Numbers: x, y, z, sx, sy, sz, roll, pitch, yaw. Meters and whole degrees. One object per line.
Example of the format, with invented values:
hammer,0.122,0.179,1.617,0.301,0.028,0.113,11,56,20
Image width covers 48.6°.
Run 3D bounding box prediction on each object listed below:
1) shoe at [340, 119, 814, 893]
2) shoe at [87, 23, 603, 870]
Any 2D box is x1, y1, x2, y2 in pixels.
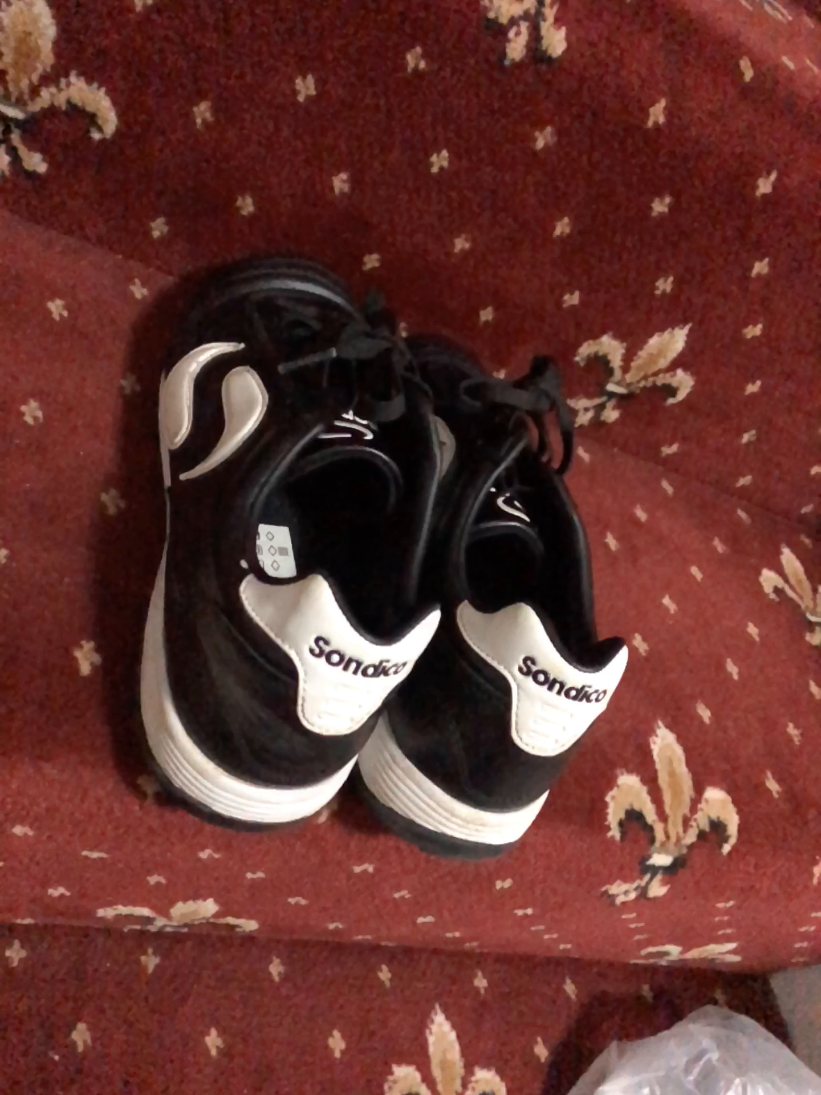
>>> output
shoe,0.042,-0.036,0.367,0.100,0.099,0.302,20,45,-24
shoe,-0.032,-0.055,0.331,0.100,0.099,0.302,17,46,-27
